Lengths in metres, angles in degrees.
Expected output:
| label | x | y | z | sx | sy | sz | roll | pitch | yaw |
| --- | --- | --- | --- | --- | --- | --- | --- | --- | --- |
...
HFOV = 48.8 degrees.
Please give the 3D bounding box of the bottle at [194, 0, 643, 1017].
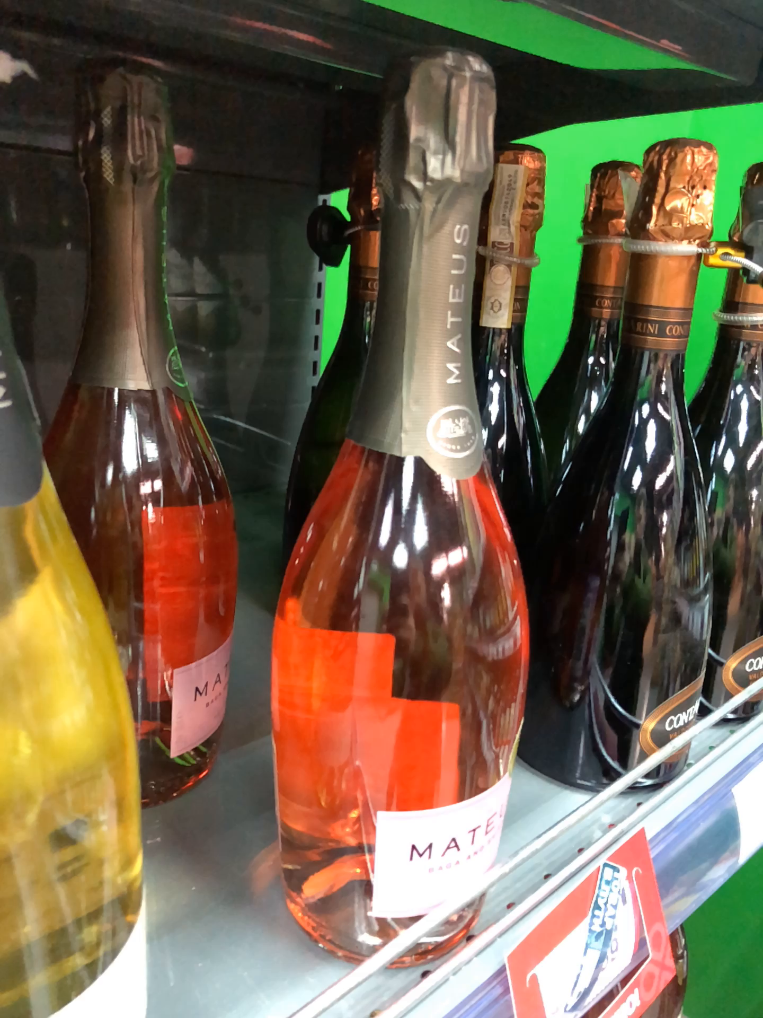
| label | x | y | z | sx | sy | sz | roll | pitch | yaw |
| --- | --- | --- | --- | --- | --- | --- | --- | --- | --- |
| bottle | 0.002 | 0.010 | 0.301 | 0.100 | 0.319 | 0.090 | -12 | 23 | -43 |
